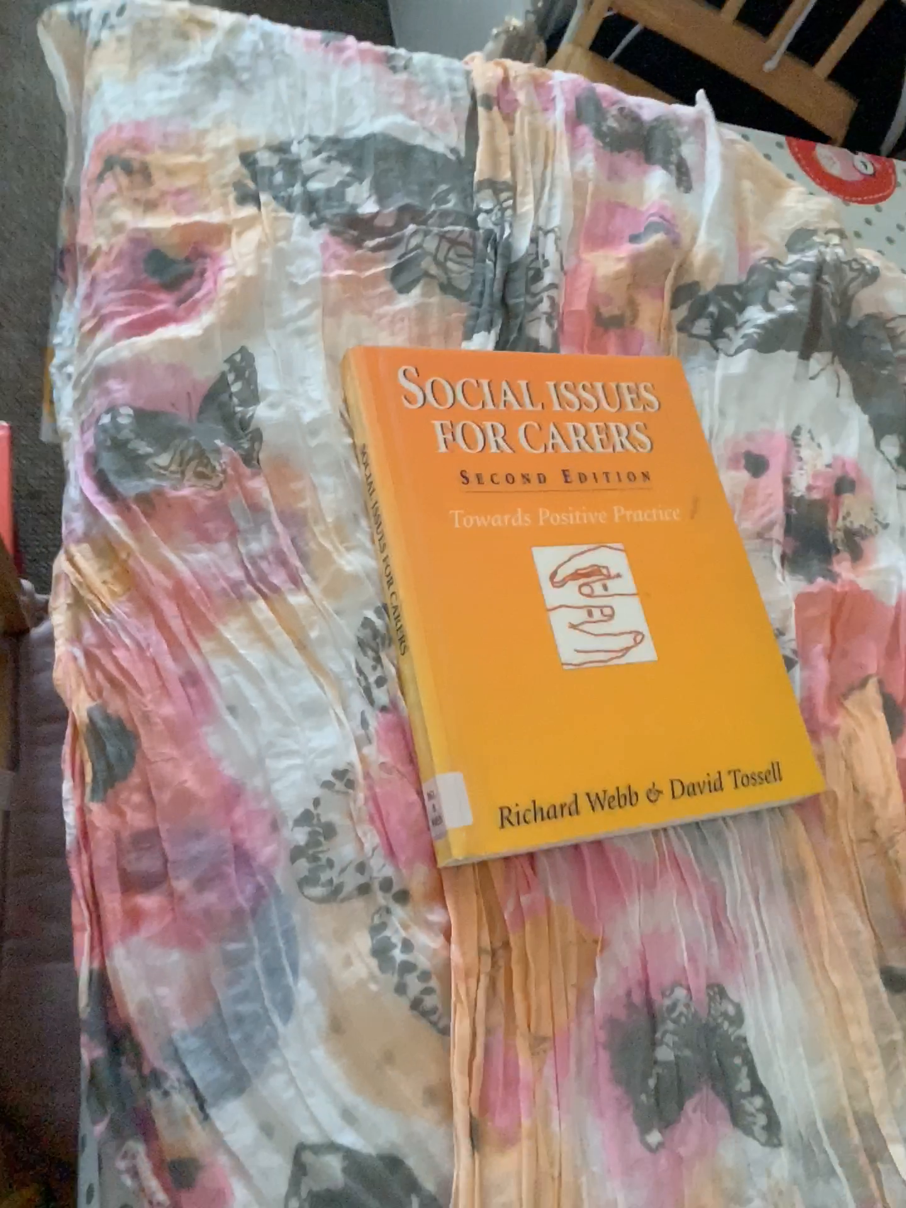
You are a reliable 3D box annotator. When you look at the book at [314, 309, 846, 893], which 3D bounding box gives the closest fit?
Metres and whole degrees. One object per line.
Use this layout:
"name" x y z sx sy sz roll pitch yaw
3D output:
"book" 0.055 -0.018 0.456 0.201 0.040 0.271 -5 69 -21
